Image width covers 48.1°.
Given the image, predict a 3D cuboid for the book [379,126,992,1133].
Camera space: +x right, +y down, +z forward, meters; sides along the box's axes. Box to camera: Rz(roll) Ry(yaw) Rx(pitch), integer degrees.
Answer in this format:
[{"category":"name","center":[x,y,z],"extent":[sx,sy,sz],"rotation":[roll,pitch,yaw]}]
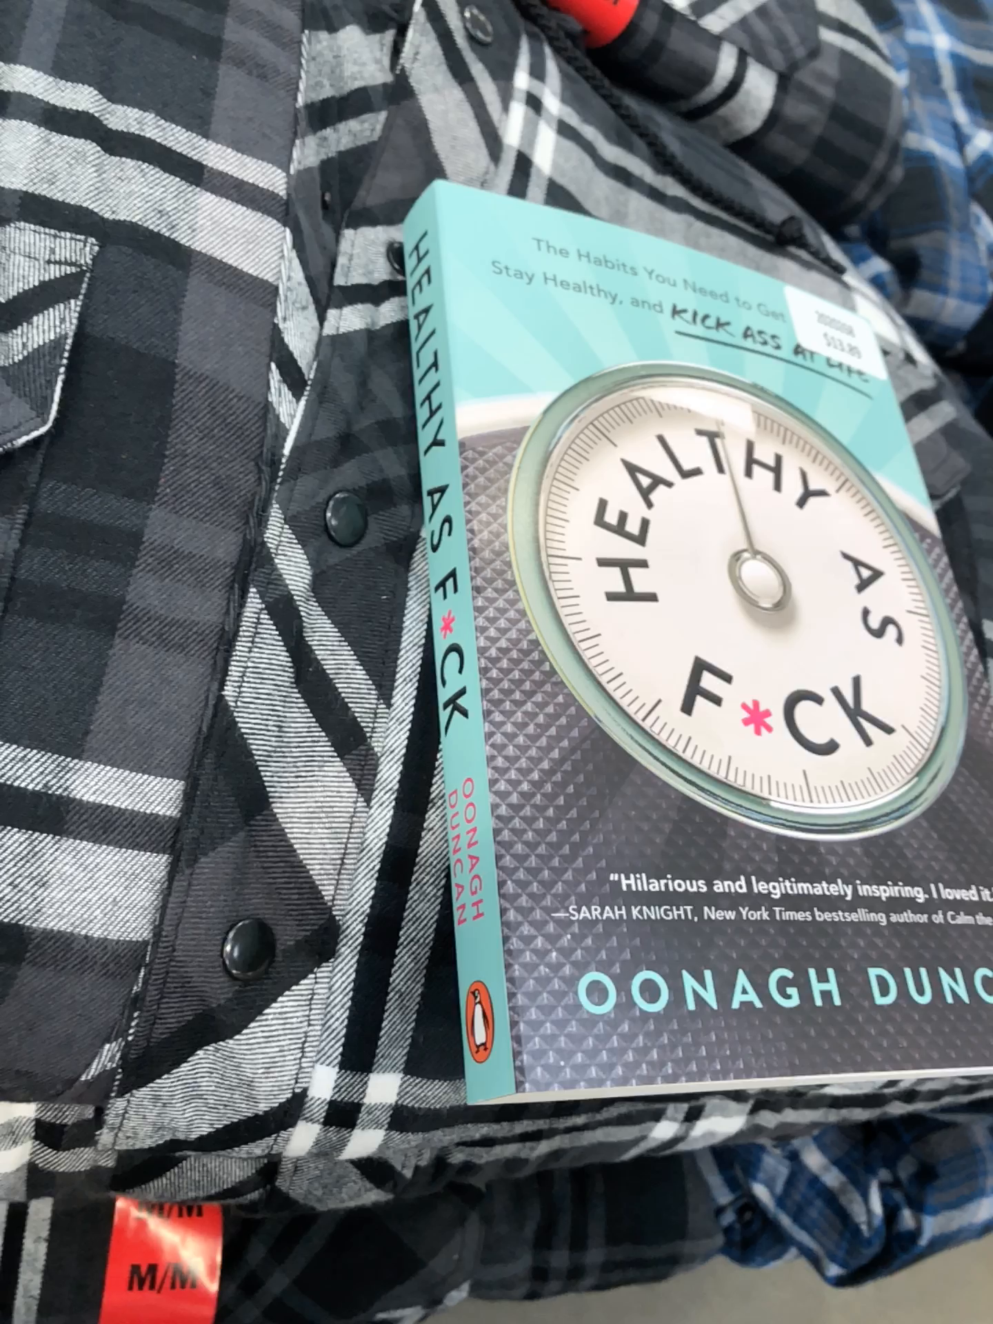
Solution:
[{"category":"book","center":[0.055,-0.016,0.279],"extent":[0.157,0.028,0.237],"rotation":[9,59,-27]}]
